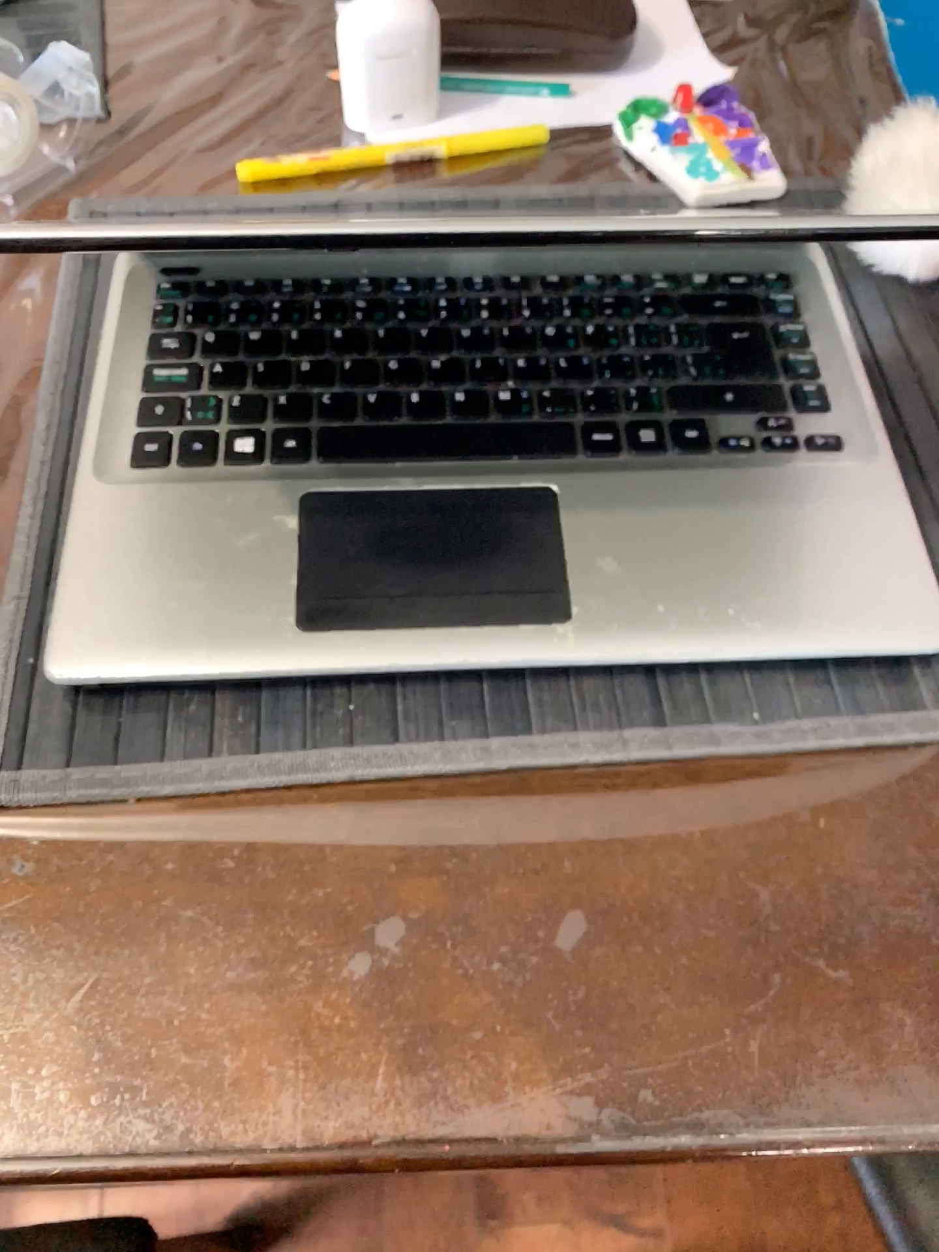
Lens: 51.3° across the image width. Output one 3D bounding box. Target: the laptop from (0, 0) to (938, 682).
[{"bbox_3d":[0.011,-0.123,0.362,0.344,0.145,0.236,-2,60,-3],"label":"laptop"}]
